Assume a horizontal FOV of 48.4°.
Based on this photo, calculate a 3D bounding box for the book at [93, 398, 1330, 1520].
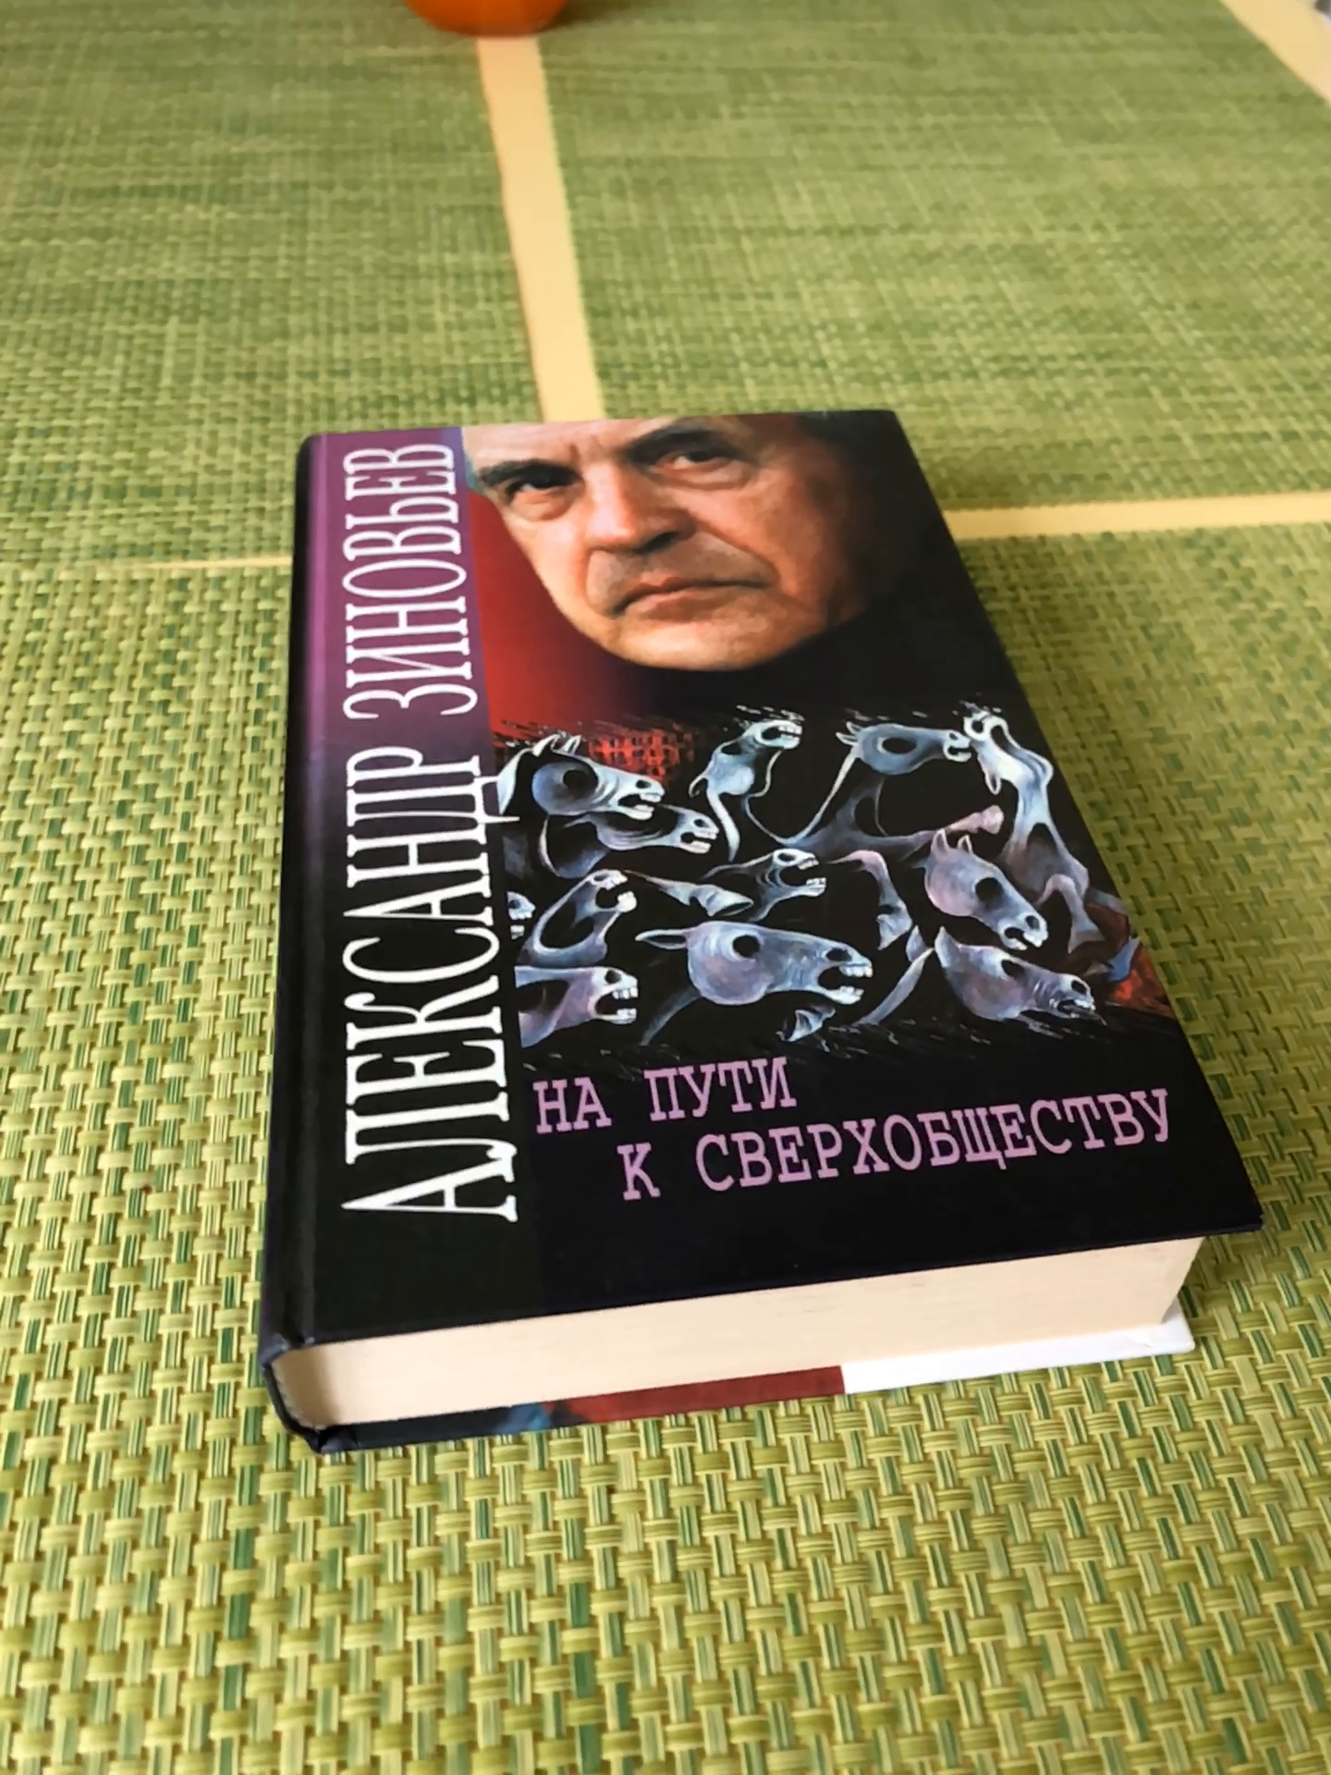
[{"bbox_3d":[-0.004,-0.011,0.254,0.150,0.040,0.201,-4,49,-7],"label":"book"}]
